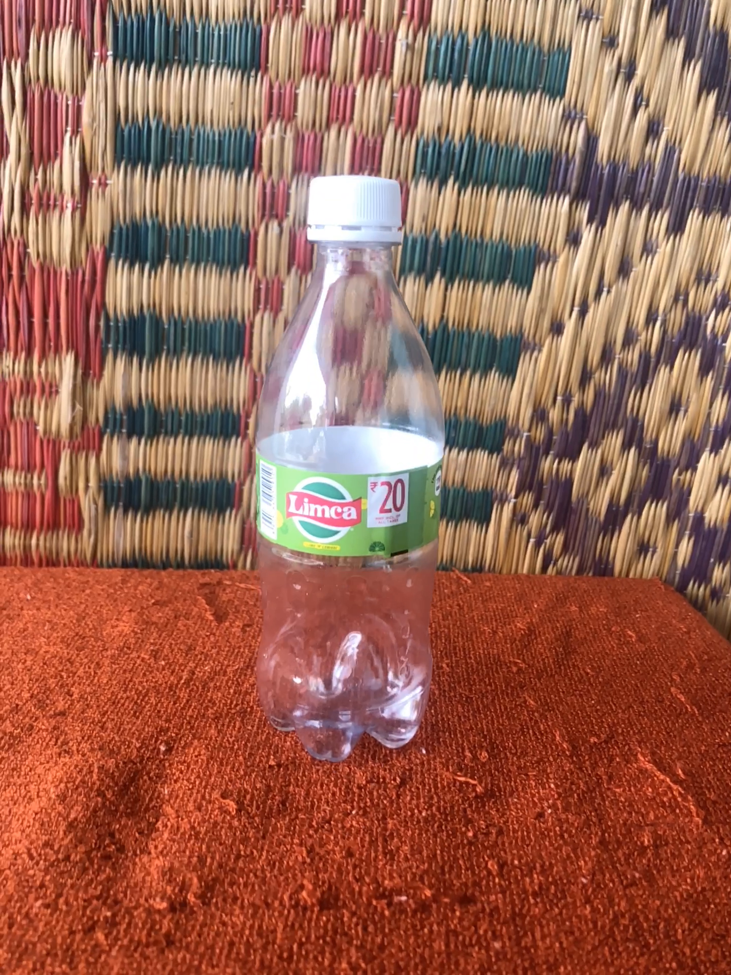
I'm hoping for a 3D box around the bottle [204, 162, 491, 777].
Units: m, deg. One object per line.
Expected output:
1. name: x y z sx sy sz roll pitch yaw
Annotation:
1. bottle: -0.007 -0.006 0.223 0.060 0.149 0.060 4 19 -1
